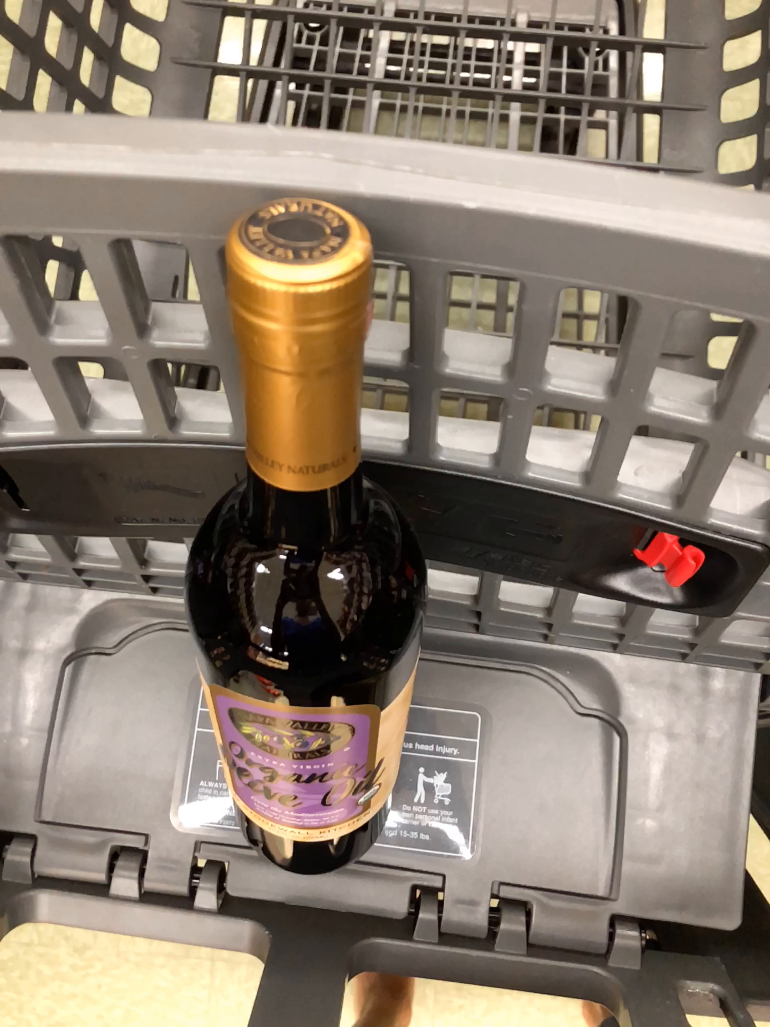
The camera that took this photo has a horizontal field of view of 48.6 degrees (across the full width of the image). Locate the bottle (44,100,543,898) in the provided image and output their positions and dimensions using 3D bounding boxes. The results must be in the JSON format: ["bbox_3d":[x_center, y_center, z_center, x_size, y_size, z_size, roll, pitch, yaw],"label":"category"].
[{"bbox_3d":[-0.021,0.038,0.283,0.080,0.301,0.080,2,51,-3],"label":"bottle"}]
